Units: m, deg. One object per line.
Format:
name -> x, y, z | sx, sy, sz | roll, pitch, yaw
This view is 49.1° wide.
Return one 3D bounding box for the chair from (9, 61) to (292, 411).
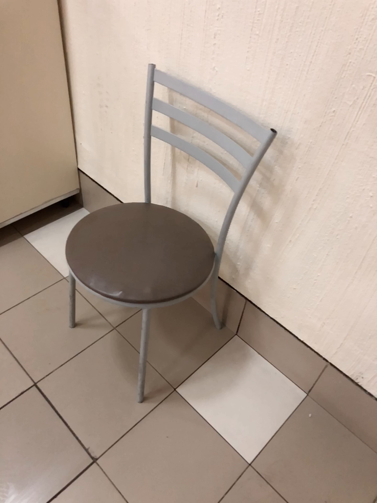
chair -> -0.110, -0.020, 1.149 | 0.431, 0.765, 0.422 | 37, 51, 26
